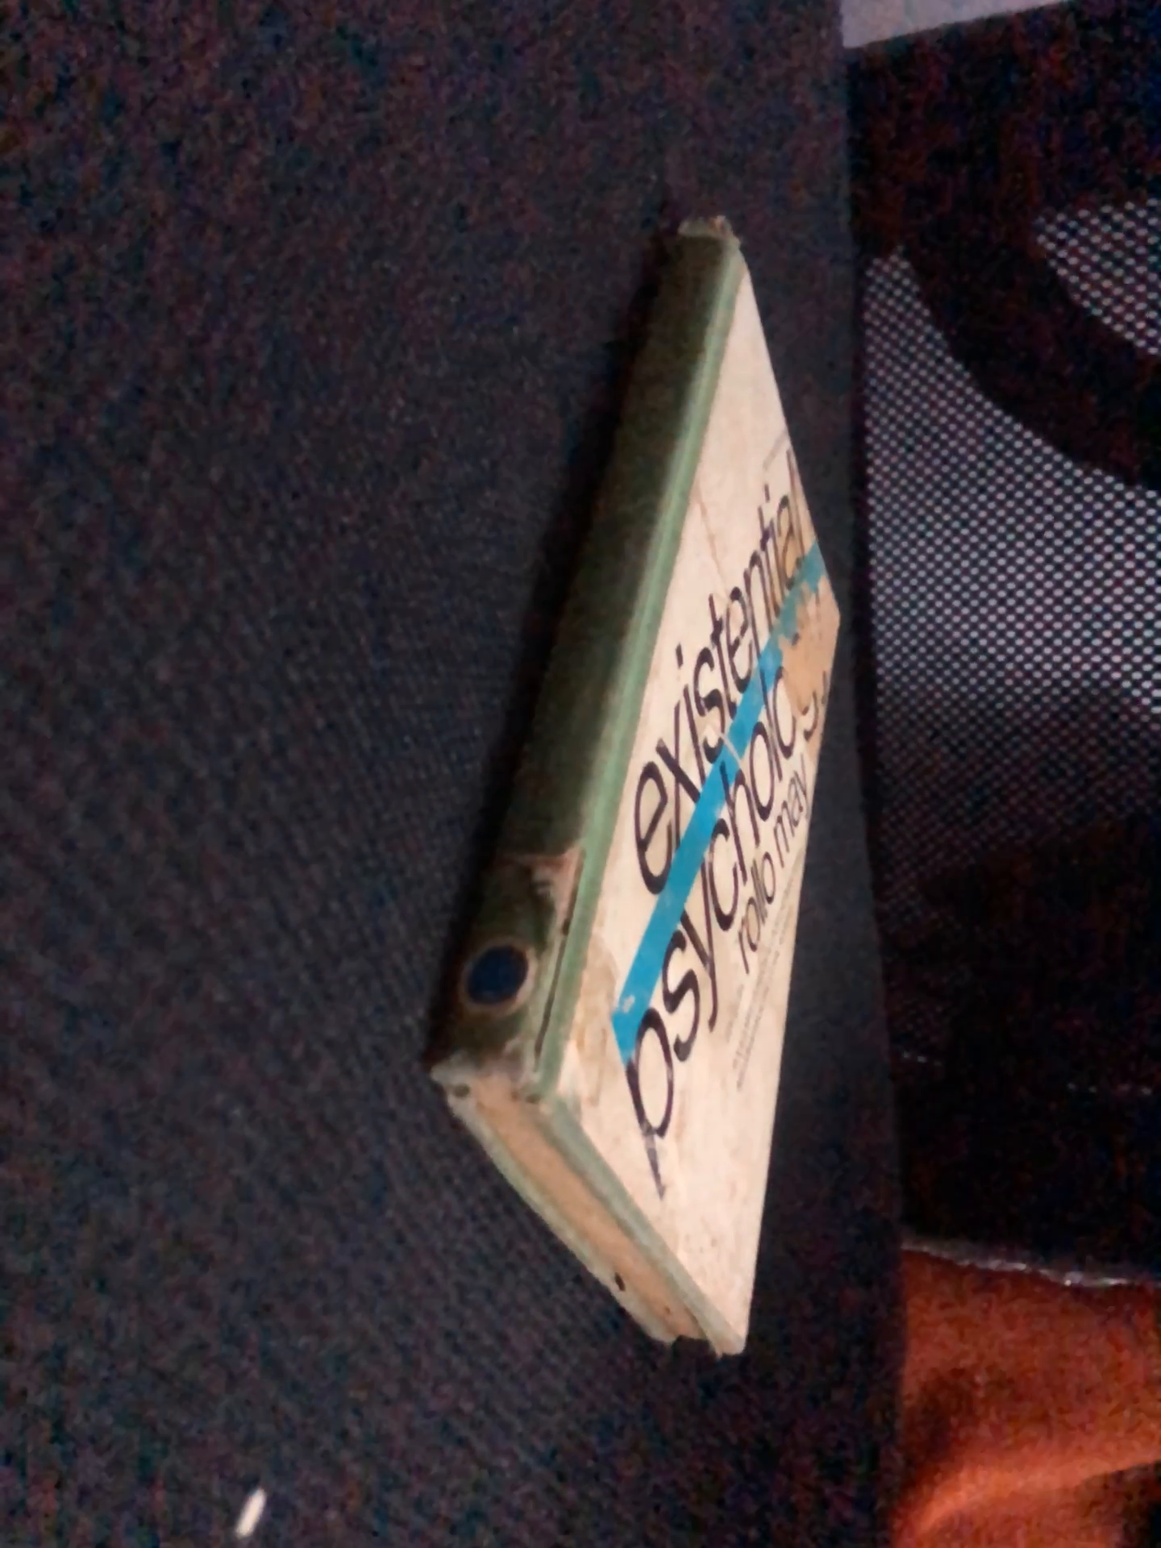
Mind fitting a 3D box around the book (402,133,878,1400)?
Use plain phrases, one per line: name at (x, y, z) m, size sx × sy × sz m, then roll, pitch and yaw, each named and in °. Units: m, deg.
book at (0.029, -0.006, 0.243) m, size 0.126 × 0.020 × 0.200 m, roll 64°, pitch 33°, yaw -48°
